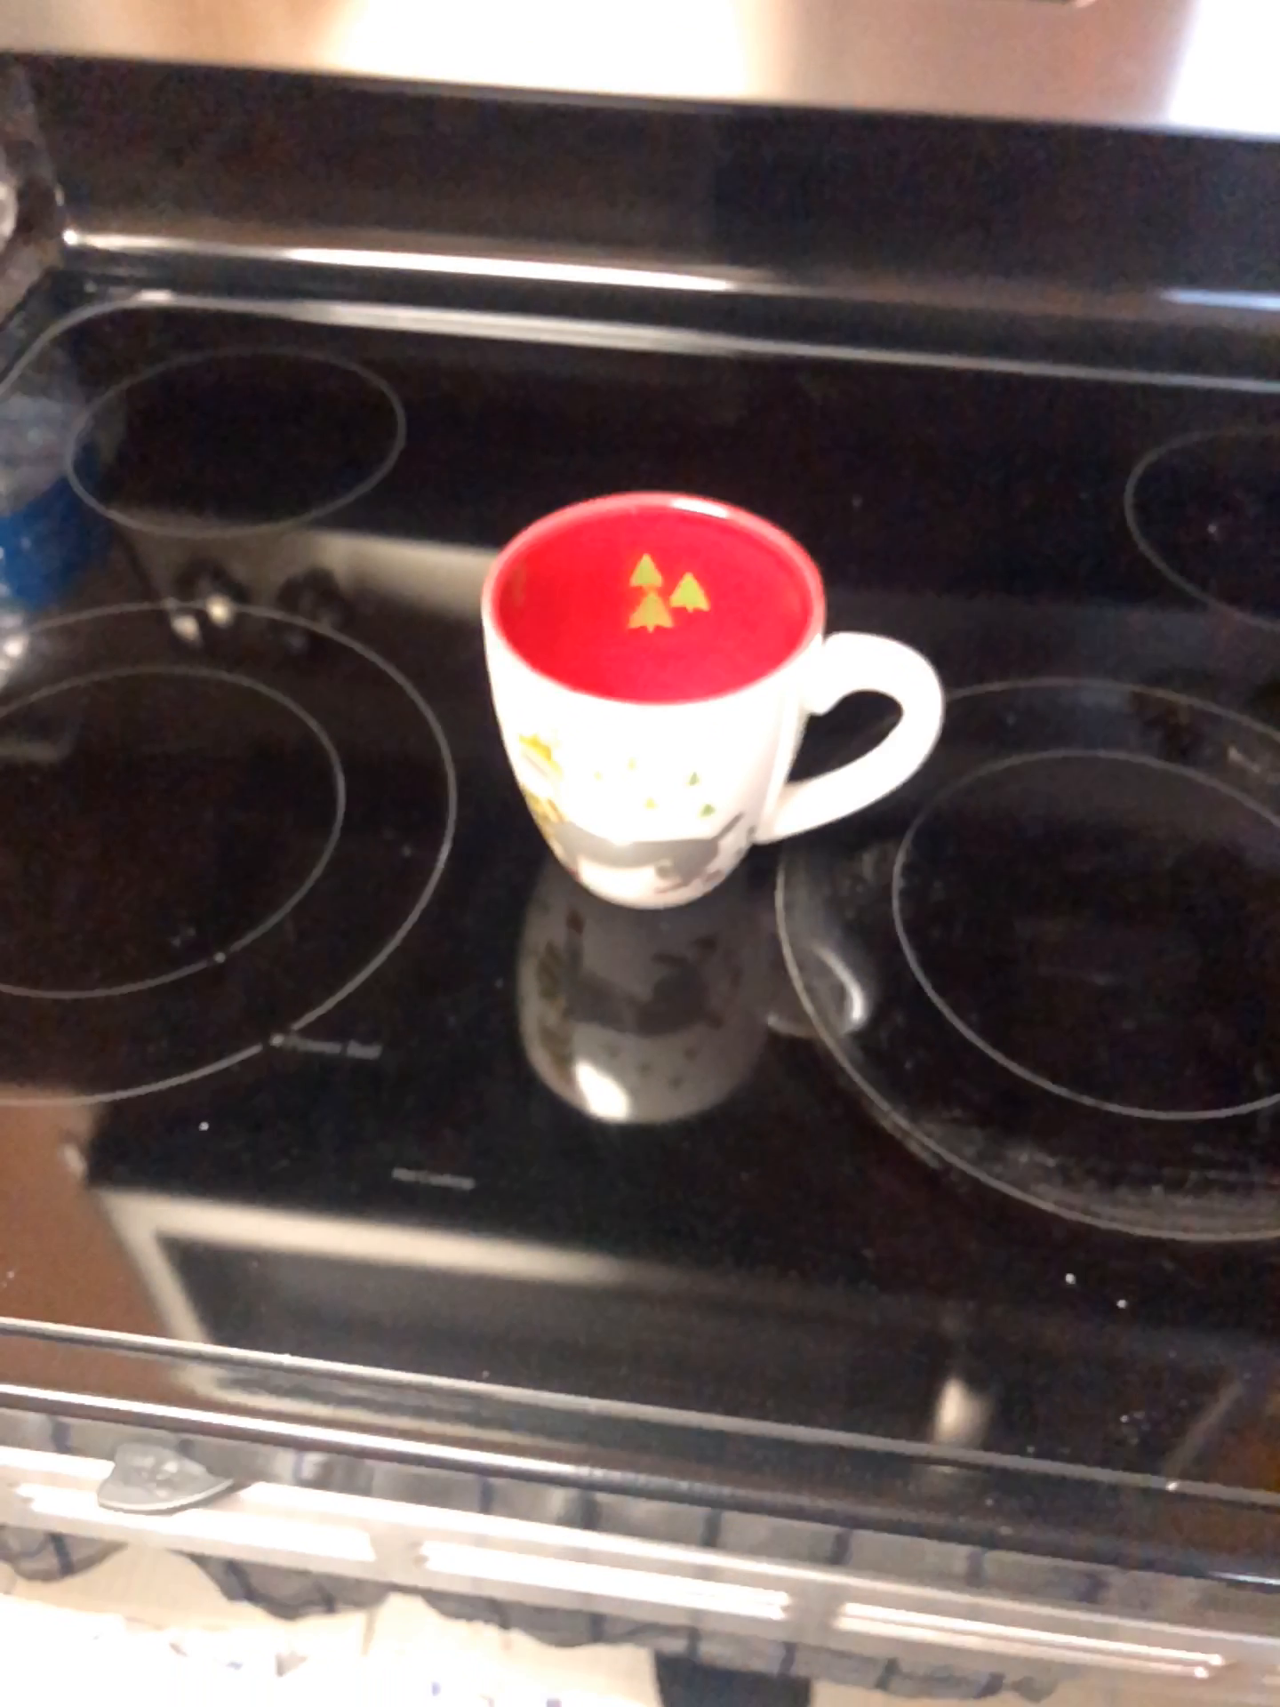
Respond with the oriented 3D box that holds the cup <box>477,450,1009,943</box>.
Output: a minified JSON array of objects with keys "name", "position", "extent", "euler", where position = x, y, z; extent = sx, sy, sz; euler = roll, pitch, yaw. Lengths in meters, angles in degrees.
[{"name":"cup","position":[0.031,-0.049,0.448],"extent":[0.140,0.100,0.100],"euler":[5,49,4]}]
